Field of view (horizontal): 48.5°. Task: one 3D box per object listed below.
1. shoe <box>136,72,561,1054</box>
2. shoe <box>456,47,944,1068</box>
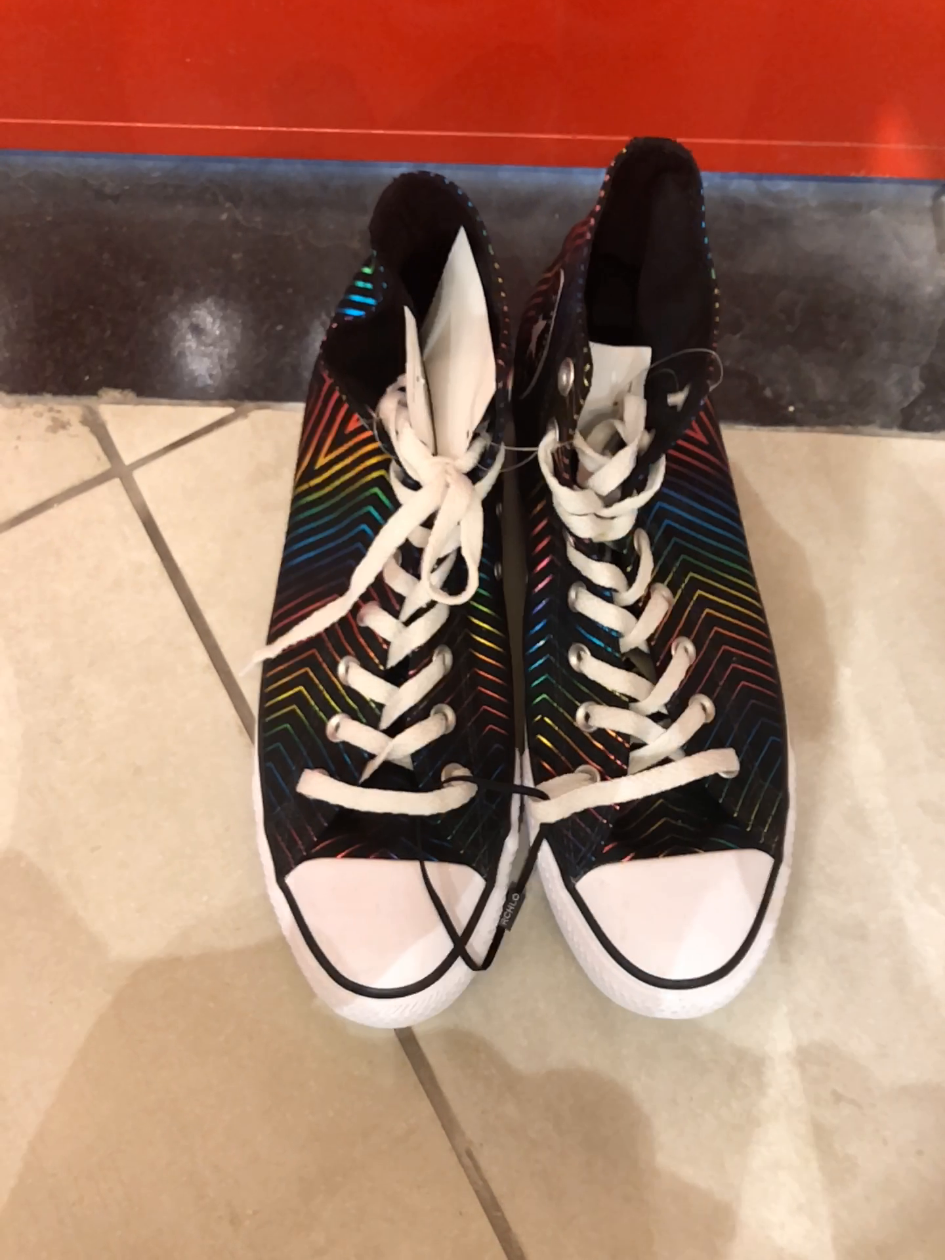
[{"bbox_3d":[-0.031,-0.021,0.381,0.110,0.140,0.310,-1,74,2],"label":"shoe"},{"bbox_3d":[0.060,-0.023,0.373,0.110,0.140,0.310,-4,74,1],"label":"shoe"}]
